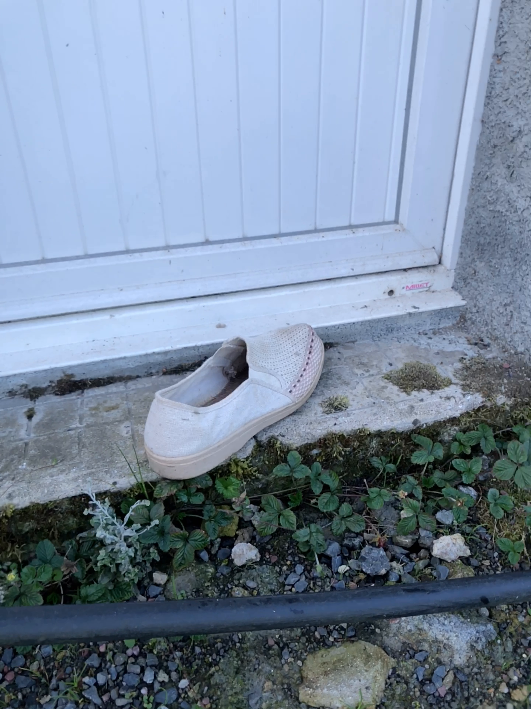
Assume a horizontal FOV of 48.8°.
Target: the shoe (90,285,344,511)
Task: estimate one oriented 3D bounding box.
[{"bbox_3d":[-0.032,0.026,0.610,0.100,0.080,0.282,20,37,30],"label":"shoe"}]
